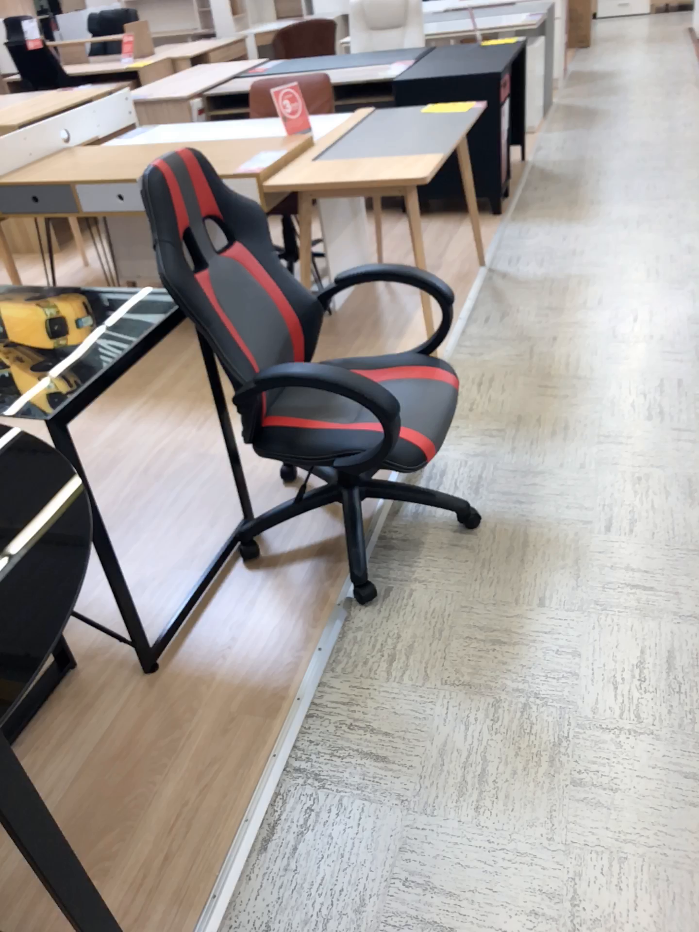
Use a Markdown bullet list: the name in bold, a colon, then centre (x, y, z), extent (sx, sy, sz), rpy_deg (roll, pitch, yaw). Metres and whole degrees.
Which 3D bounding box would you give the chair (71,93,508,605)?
- **chair**: centre (-0.027, -0.293, 1.835), extent (0.689, 0.925, 0.694), rpy_deg (4, 35, 19)
